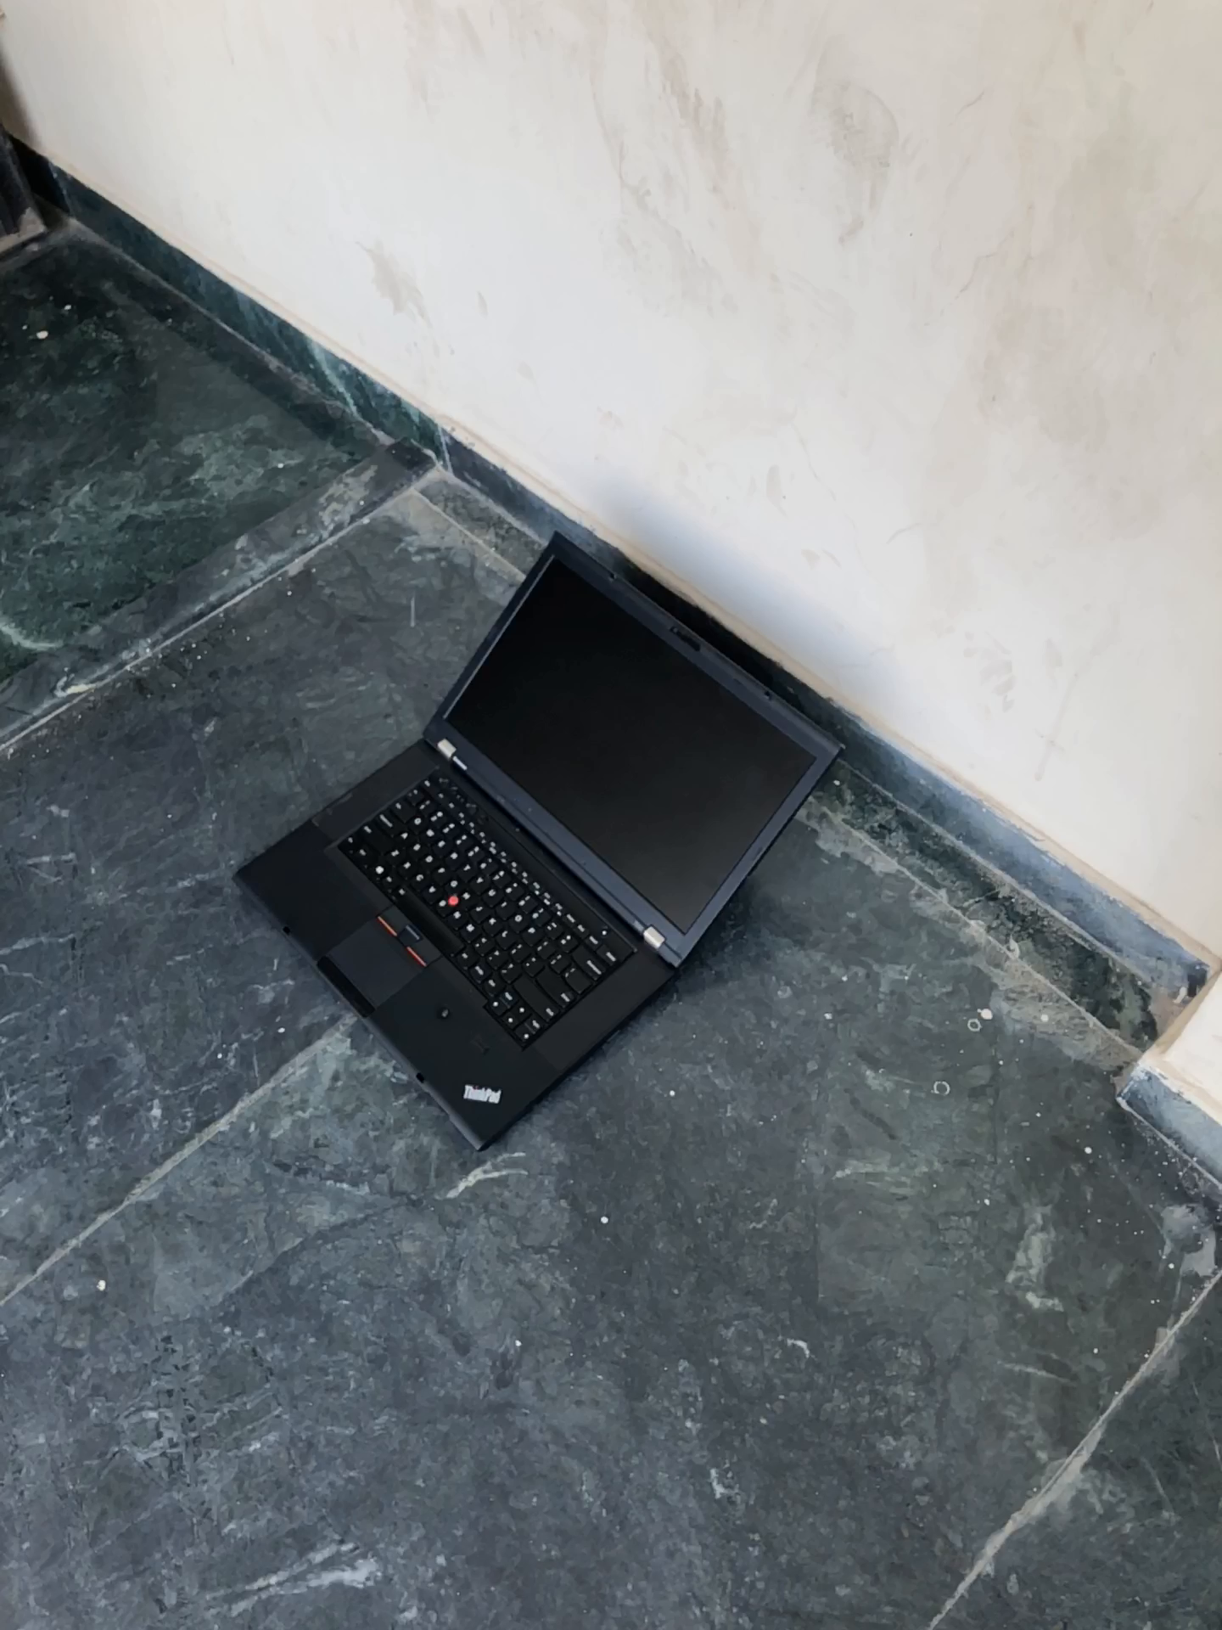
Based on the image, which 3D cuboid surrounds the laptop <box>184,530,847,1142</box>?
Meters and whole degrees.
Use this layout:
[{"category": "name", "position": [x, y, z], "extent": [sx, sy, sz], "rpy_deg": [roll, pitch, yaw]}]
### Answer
[{"category": "laptop", "position": [-0.067, -0.003, 1.037], "extent": [0.376, 0.115, 0.311], "rpy_deg": [-39, 62, -20]}]
